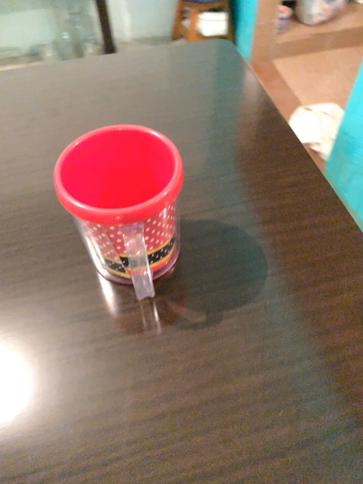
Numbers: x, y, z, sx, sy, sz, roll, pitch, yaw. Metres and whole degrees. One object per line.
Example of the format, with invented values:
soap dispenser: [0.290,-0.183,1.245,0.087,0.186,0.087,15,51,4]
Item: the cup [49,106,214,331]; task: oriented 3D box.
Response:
cup: [-0.038,-0.018,0.302,0.090,0.110,0.120,-15,54,-8]
